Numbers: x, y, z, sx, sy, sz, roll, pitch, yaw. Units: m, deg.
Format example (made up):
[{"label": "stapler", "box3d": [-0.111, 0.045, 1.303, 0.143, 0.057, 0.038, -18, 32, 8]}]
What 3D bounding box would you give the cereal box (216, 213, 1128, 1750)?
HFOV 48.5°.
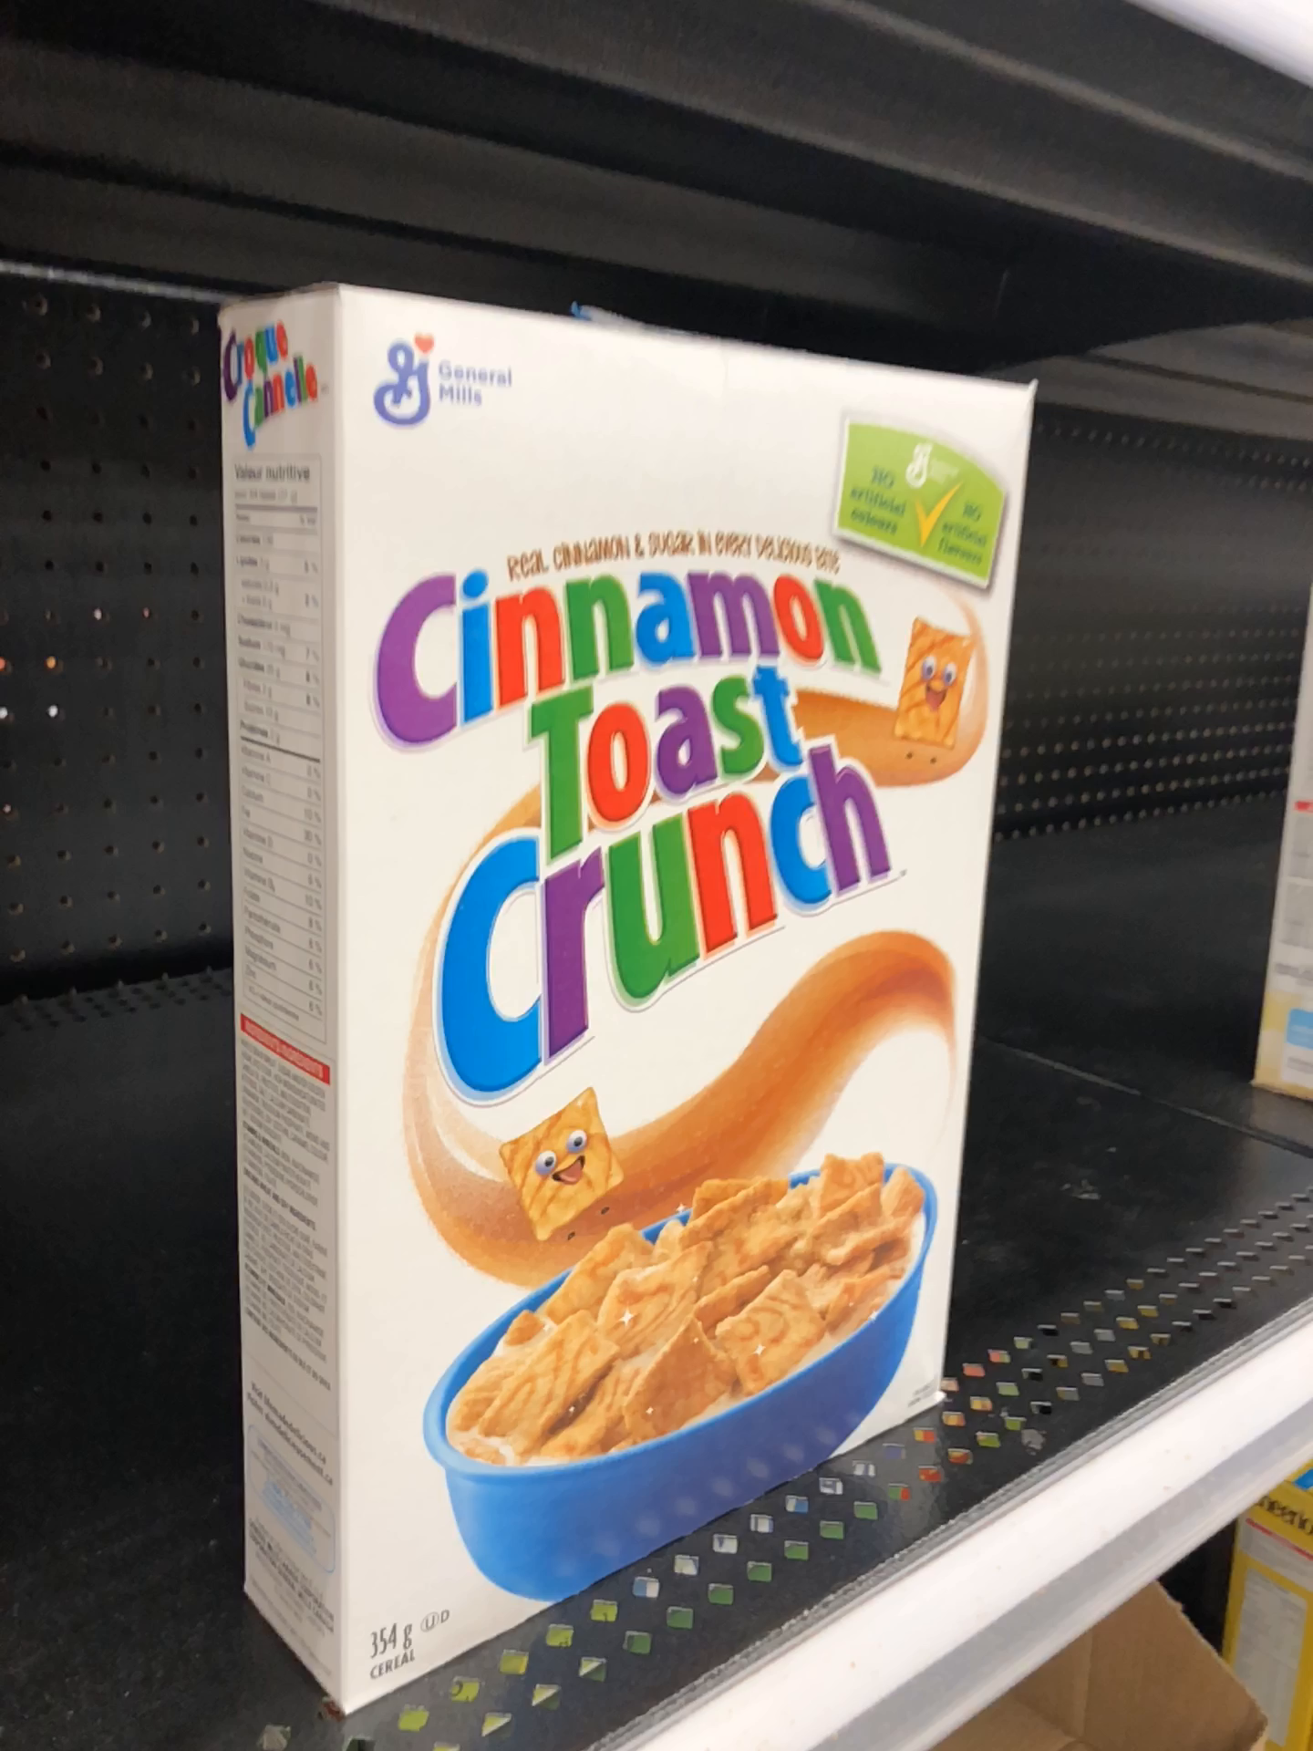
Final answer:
[{"label": "cereal box", "box3d": [0.013, 0.017, 0.338, 0.210, 0.279, 0.050, -8, 16, -39]}]
